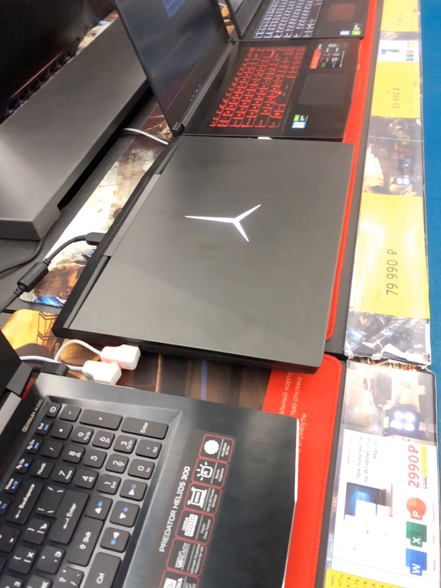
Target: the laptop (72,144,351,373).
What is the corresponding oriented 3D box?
[{"bbox_3d":[0.013,-0.072,0.545,0.227,0.007,0.345,6,49,16],"label":"laptop"}]
